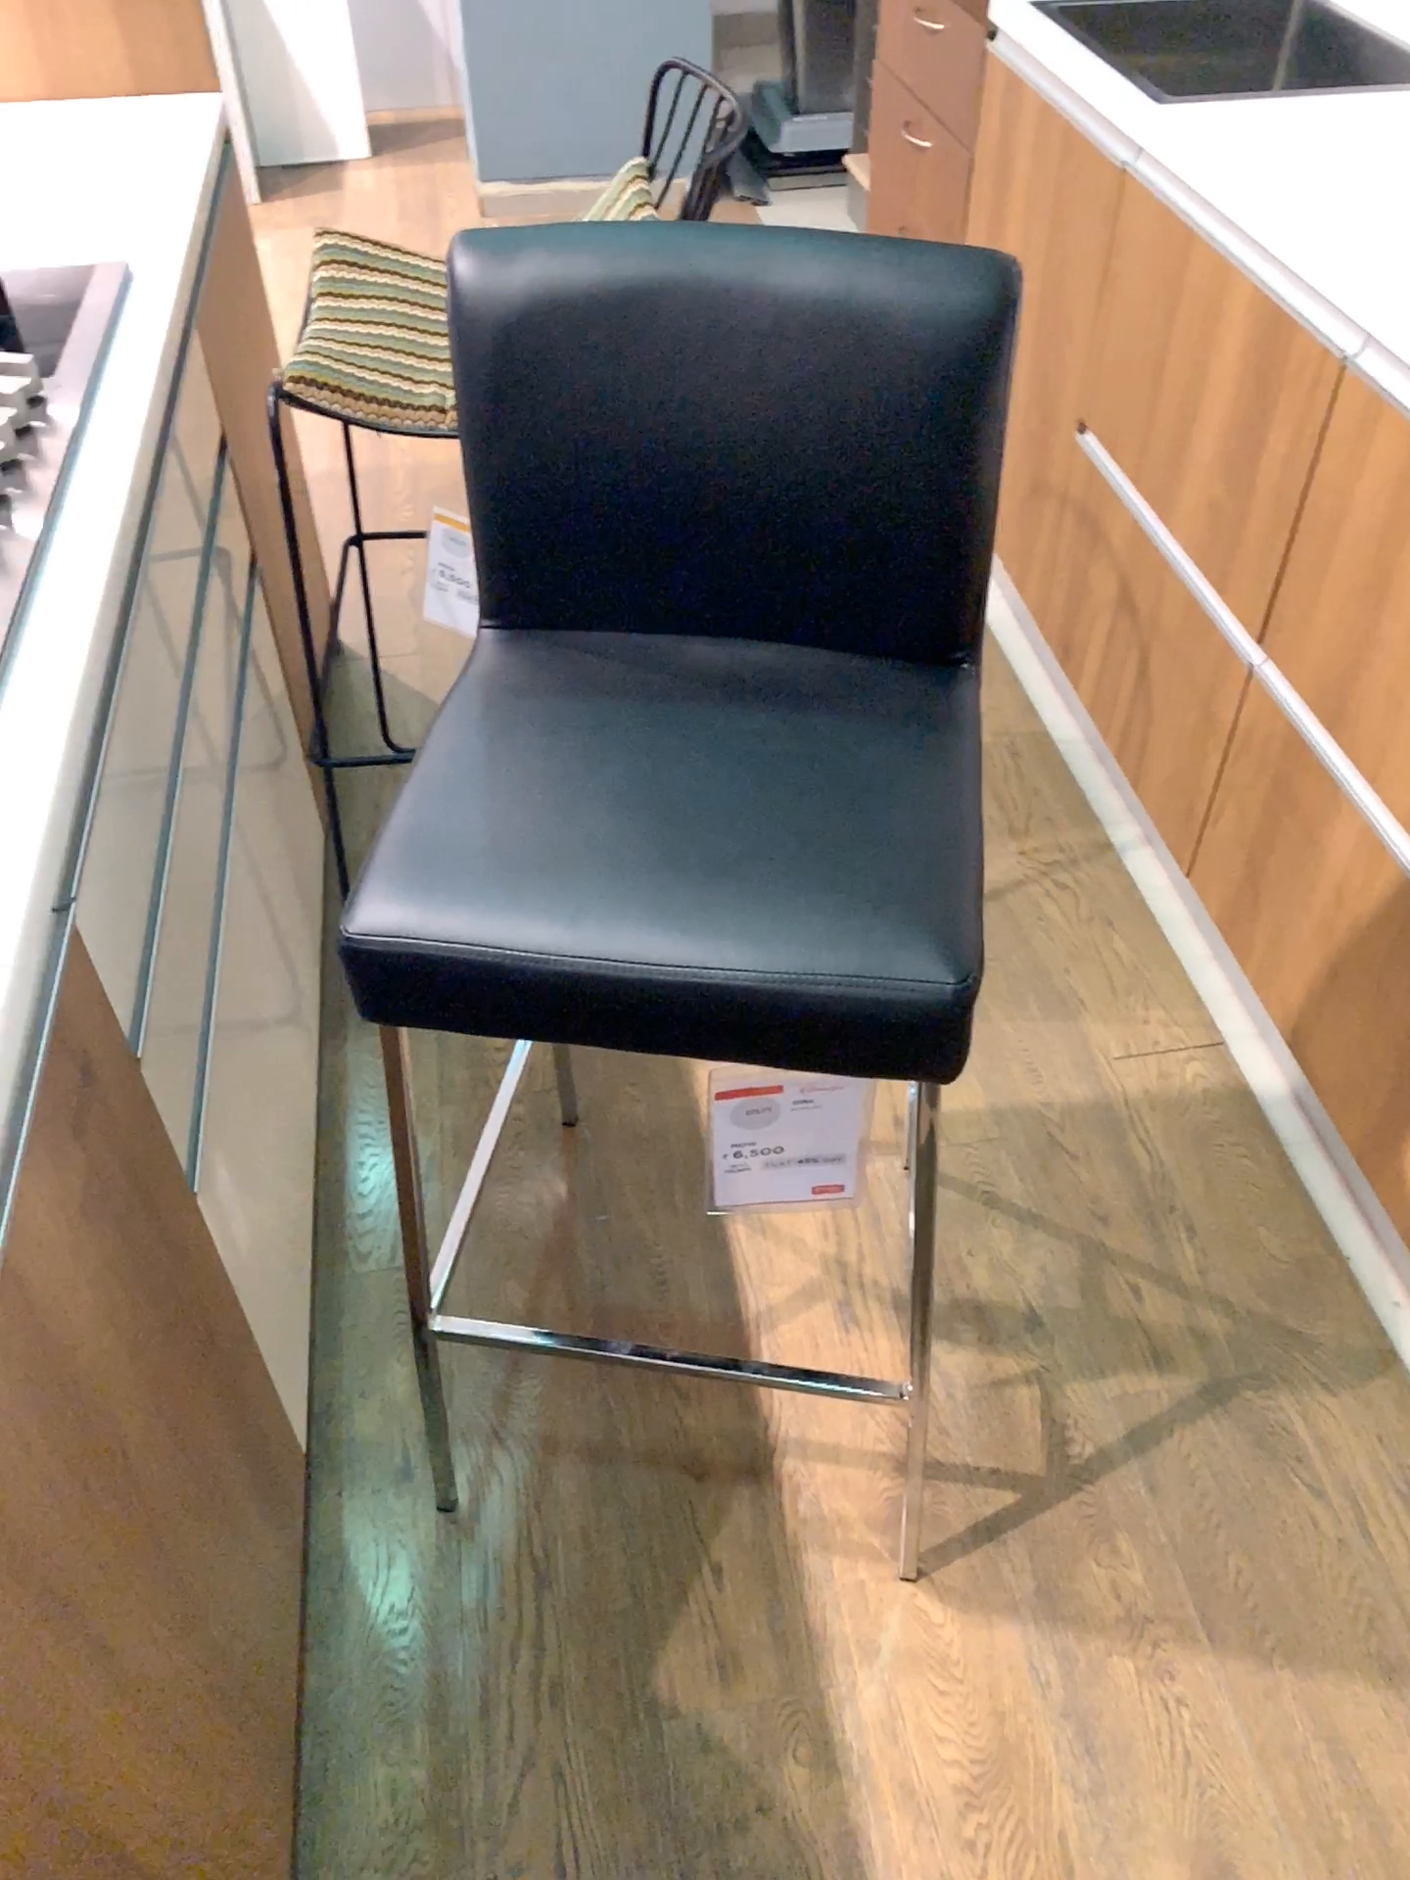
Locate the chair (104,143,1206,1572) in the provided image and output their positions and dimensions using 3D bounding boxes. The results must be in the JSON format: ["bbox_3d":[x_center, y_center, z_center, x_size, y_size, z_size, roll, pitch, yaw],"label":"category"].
[{"bbox_3d":[0.017,0.005,1.179,0.500,1.026,0.522,8,46,8],"label":"chair"}]
